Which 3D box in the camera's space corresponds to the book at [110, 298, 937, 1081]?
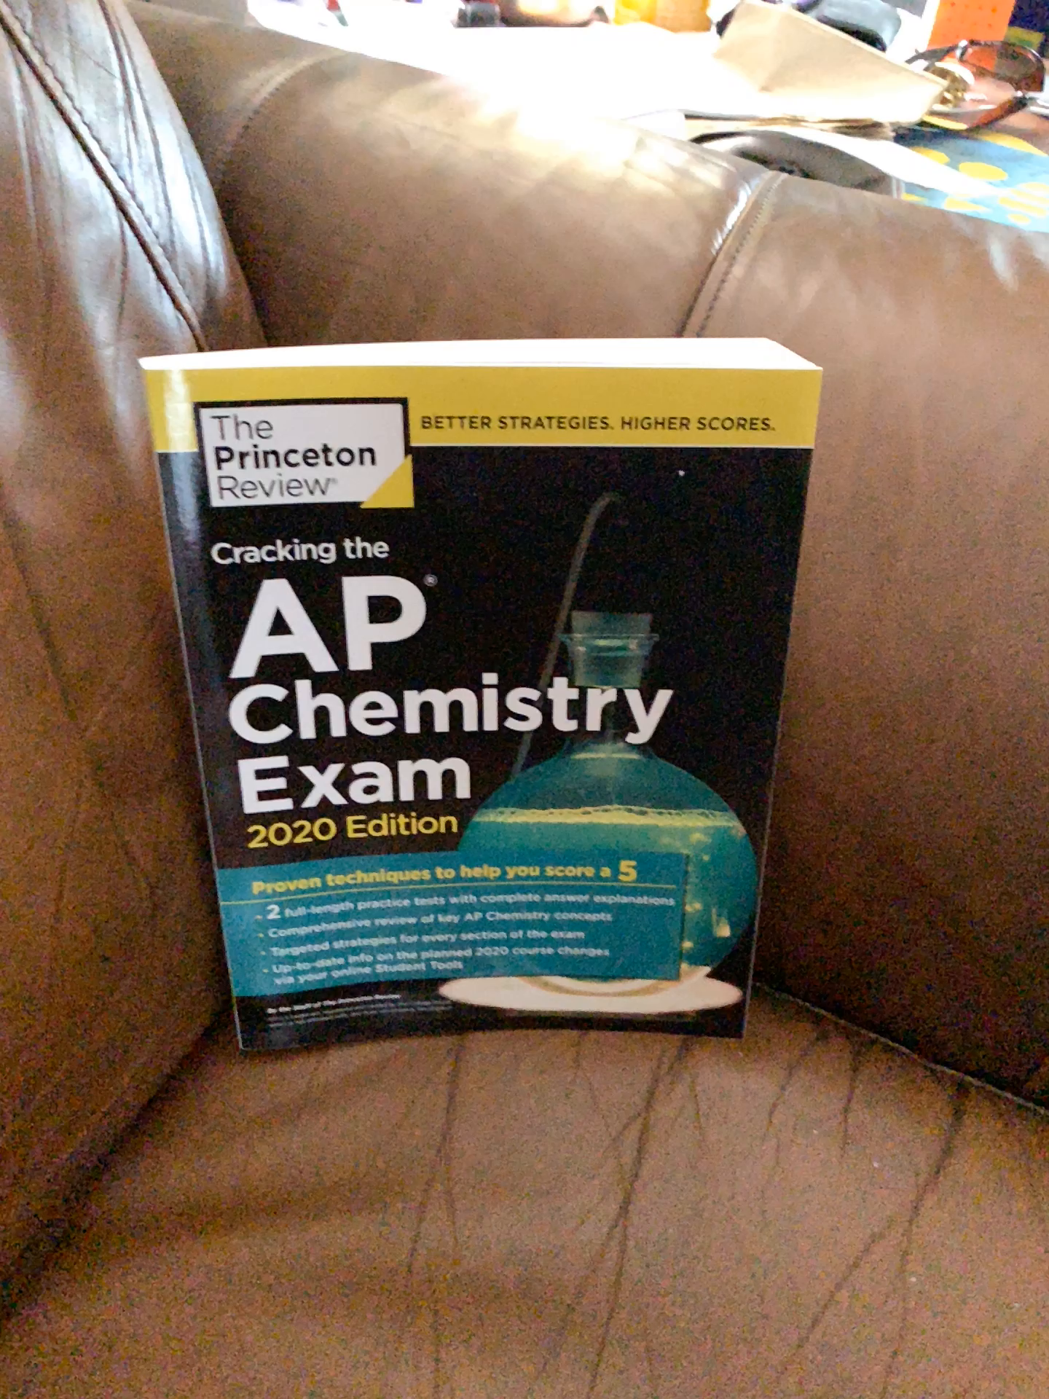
[{"bbox_3d":[-0.005,0.021,0.413,0.240,0.319,0.040,0,32,-5],"label":"book"}]
